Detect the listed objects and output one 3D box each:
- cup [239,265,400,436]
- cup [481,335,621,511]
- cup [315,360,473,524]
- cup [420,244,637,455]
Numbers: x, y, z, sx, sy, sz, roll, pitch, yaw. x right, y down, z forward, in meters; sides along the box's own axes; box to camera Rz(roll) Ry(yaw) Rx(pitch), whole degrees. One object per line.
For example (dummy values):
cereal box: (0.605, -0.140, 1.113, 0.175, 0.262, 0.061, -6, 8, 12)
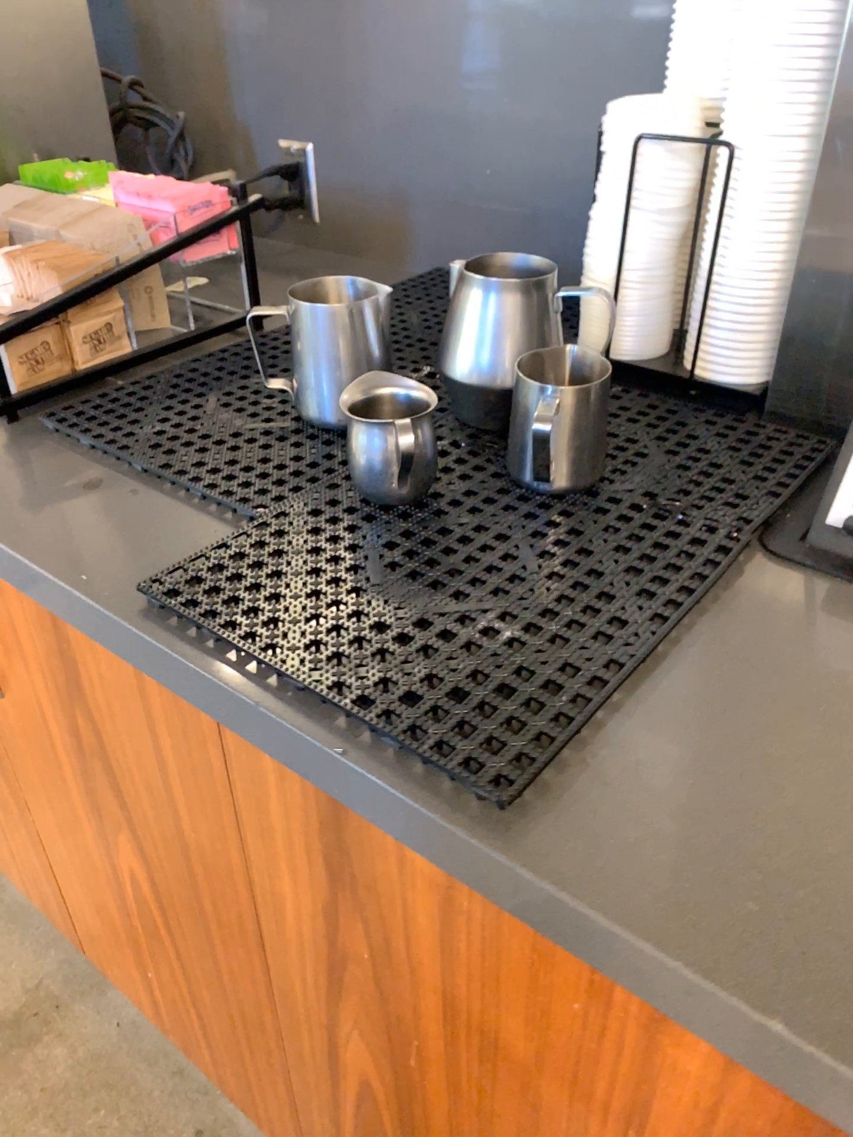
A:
cup: (-0.089, -0.183, 0.736, 0.120, 0.109, 0.081, -6, 34, -8)
cup: (0.091, -0.108, 0.636, 0.080, 0.079, 0.111, 8, 35, 13)
cup: (-0.025, -0.093, 0.624, 0.080, 0.060, 0.121, -10, 35, -14)
cup: (0.084, -0.187, 0.739, 0.150, 0.129, 0.100, 13, 36, 19)
